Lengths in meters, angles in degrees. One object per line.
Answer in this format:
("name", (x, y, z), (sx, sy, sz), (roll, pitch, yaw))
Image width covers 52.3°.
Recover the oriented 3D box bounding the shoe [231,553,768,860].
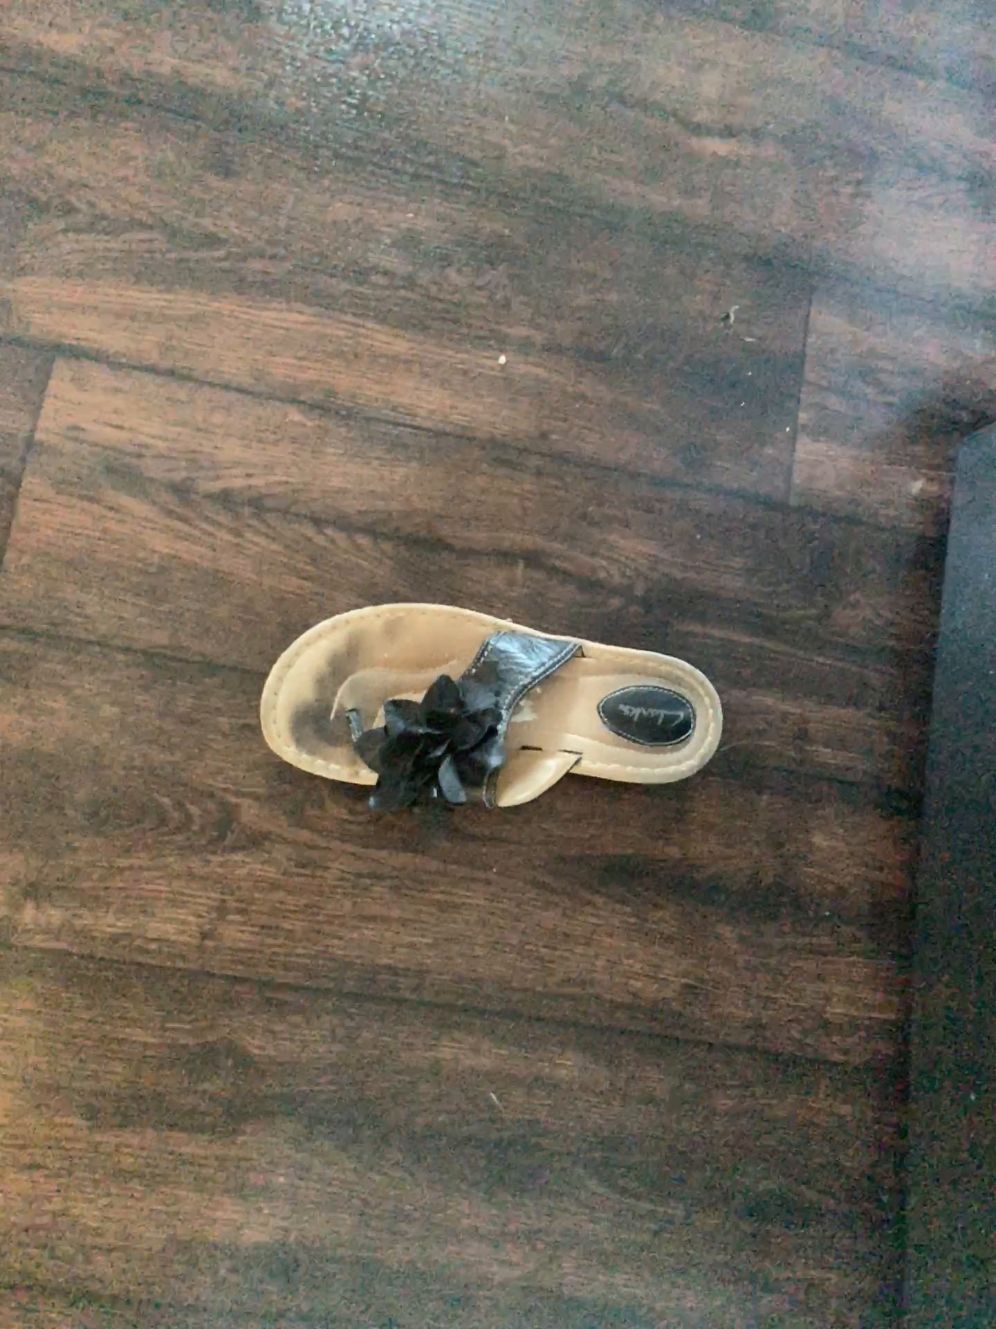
("shoe", (0.004, 0.025, 0.517), (0.250, 0.050, 0.110), (10, 80, -7))
